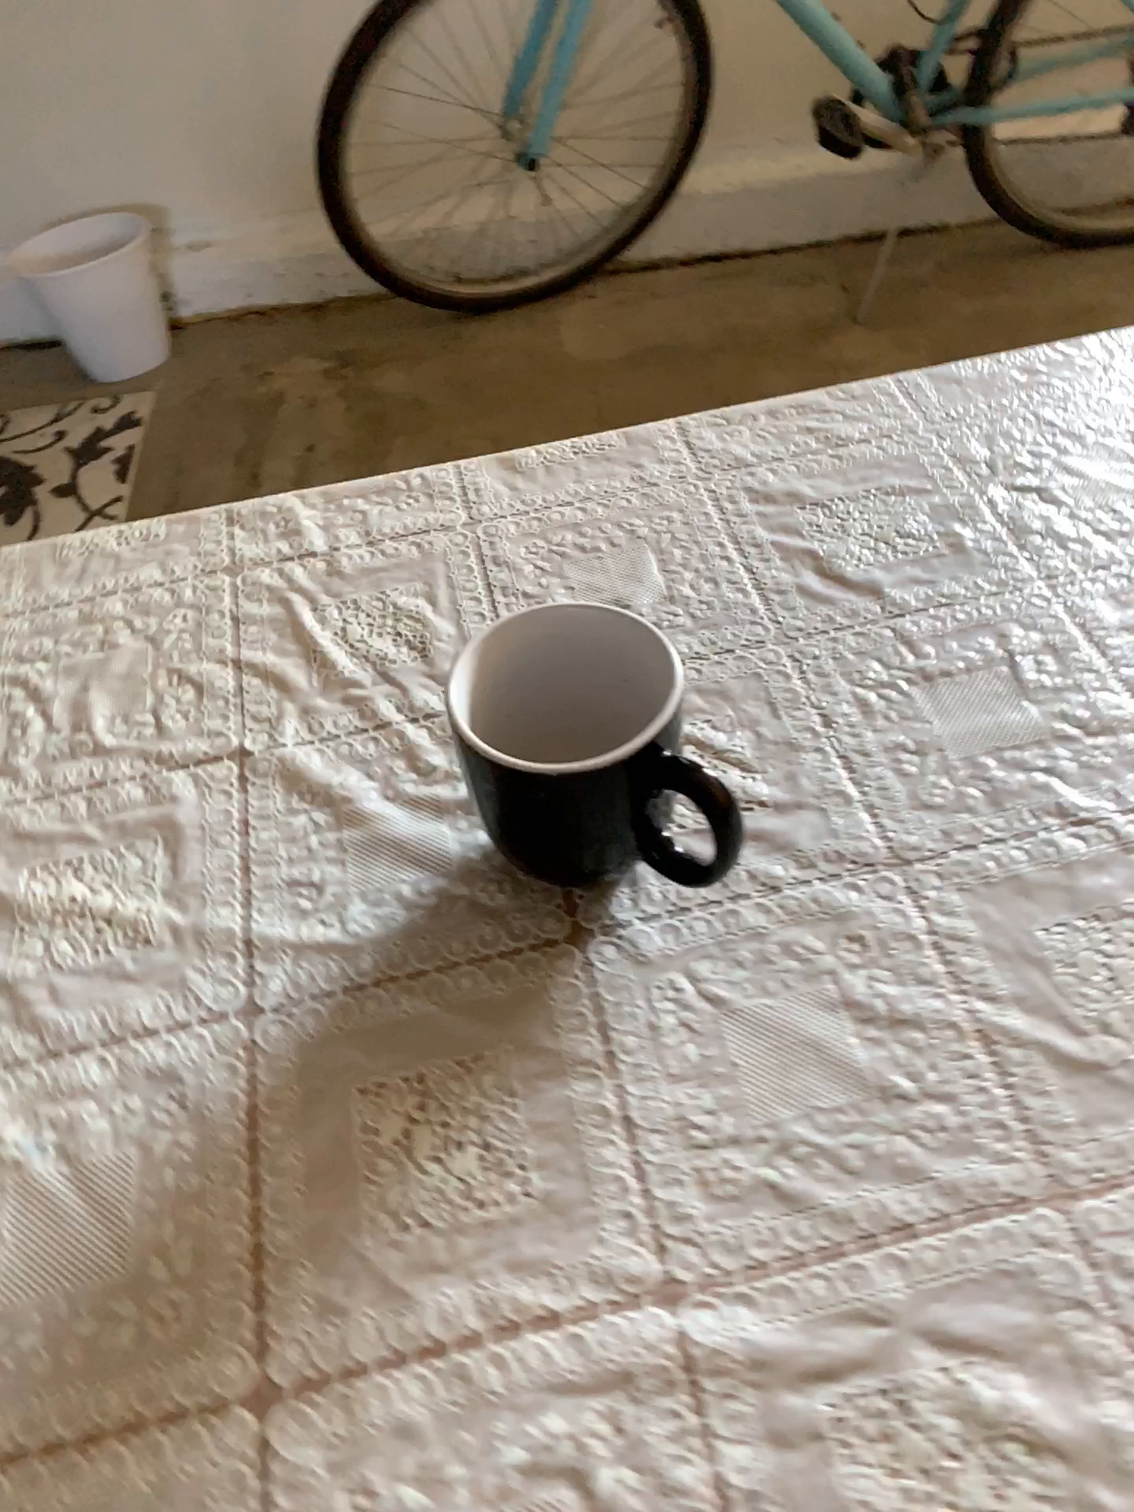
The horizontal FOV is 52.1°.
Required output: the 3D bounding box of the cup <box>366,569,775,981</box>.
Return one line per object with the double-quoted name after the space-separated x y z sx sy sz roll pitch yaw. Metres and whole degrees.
0.005 0.004 0.478 0.130 0.090 0.090 28 58 29 "cup"
